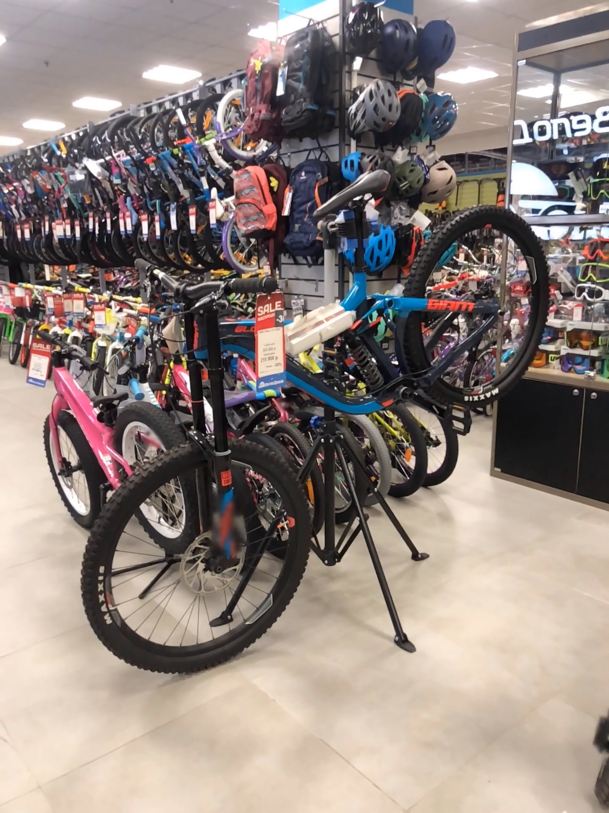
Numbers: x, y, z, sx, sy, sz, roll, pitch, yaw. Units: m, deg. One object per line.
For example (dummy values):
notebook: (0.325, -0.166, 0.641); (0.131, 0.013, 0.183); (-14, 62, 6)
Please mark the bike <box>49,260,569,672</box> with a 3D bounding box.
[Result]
bike: (0.002, 0.026, 1.997); (1.524, 0.182, 0.661); (-35, 27, -19)
